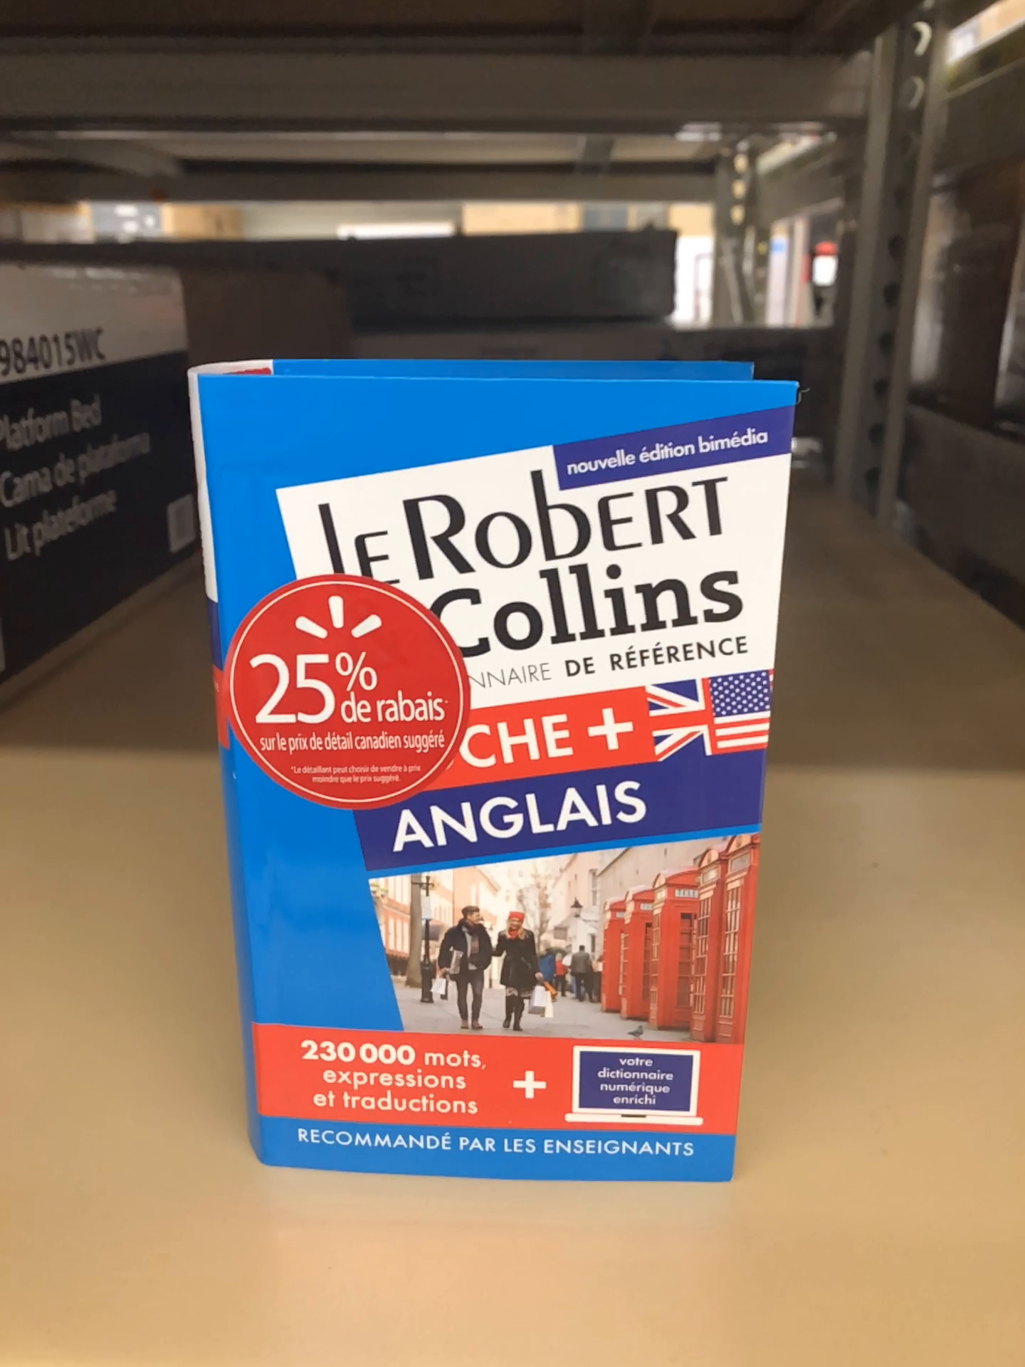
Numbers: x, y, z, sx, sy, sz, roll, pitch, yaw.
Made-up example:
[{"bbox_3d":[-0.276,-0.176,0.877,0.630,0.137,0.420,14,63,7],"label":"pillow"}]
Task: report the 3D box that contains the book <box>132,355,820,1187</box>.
[{"bbox_3d":[-0.006,0.019,0.256,0.120,0.173,0.059,1,20,3],"label":"book"}]
